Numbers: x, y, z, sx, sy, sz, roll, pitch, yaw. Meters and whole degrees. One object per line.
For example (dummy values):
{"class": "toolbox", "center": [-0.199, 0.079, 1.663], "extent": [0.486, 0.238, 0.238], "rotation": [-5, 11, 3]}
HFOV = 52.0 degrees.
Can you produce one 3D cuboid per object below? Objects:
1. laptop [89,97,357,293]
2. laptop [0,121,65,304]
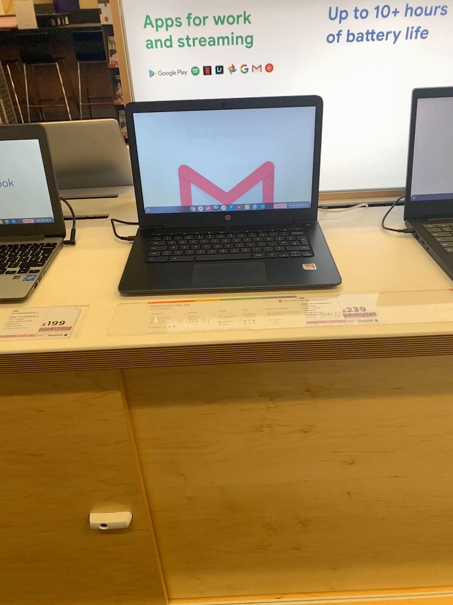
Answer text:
{"class": "laptop", "center": [0.000, -0.178, 0.730], "extent": [0.331, 0.208, 0.246], "rotation": [-2, 34, 1]}
{"class": "laptop", "center": [-0.436, -0.149, 0.718], "extent": [0.270, 0.185, 0.243], "rotation": [-2, 34, -1]}
